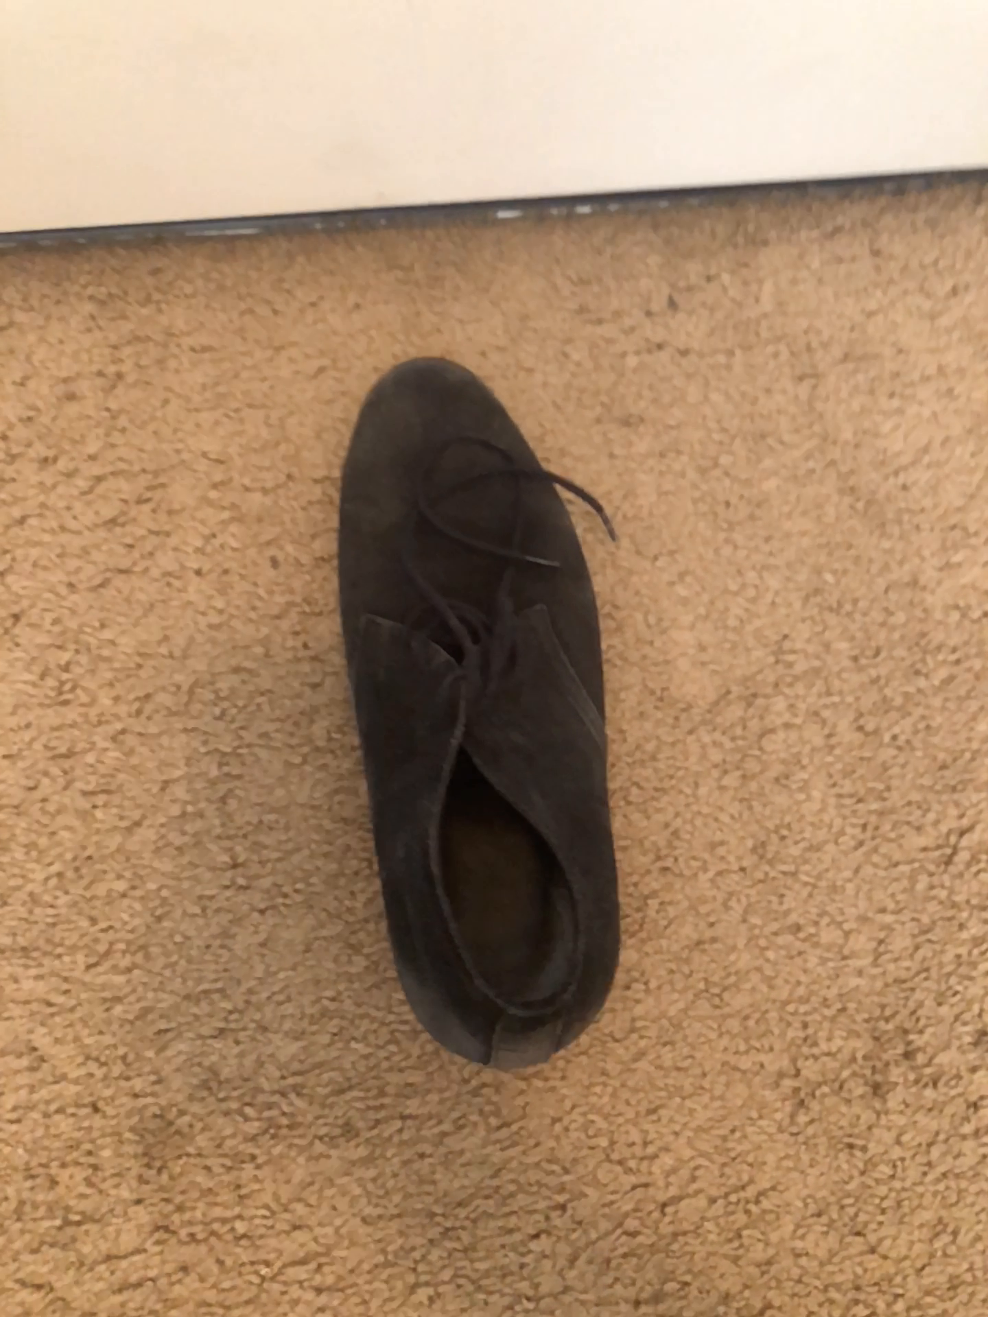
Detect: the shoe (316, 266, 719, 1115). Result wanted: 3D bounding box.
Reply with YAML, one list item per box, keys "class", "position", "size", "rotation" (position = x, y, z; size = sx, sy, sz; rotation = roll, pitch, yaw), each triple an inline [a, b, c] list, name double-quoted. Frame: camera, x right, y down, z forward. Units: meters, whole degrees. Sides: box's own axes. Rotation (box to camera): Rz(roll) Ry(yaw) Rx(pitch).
- class: "shoe"
  position: [-0.002, 0.007, 0.403]
  size: [0.102, 0.095, 0.279]
  rotation: [-4, 74, -6]
